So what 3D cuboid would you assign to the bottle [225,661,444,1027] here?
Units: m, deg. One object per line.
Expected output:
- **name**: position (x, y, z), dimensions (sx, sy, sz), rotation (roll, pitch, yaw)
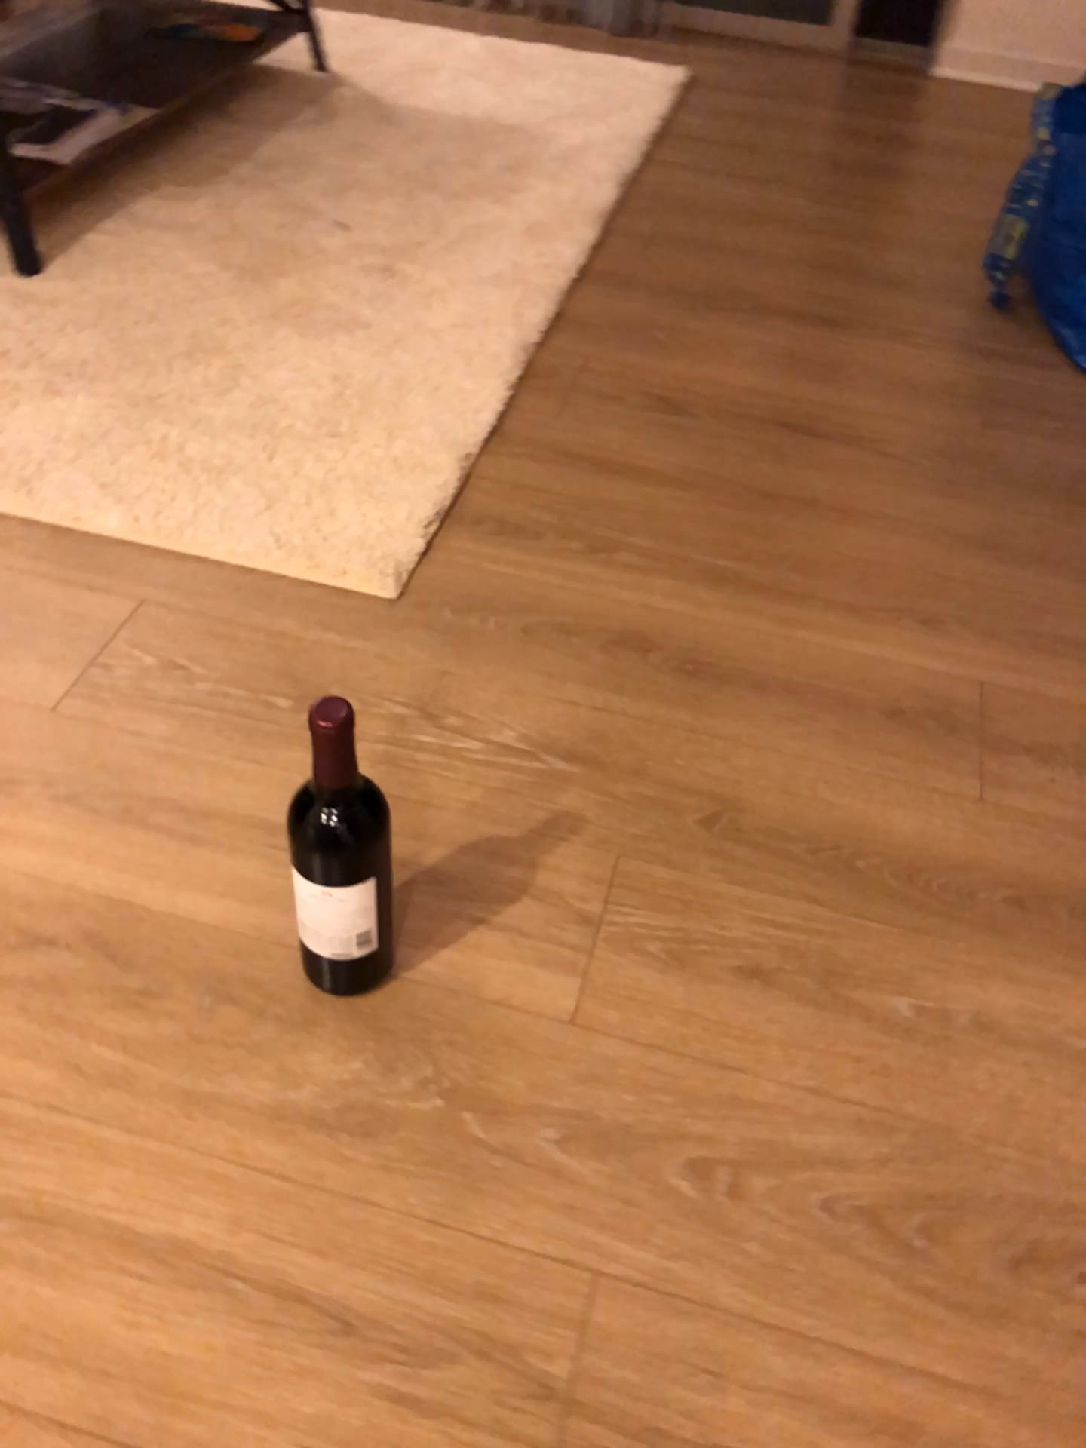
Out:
- **bottle**: position (-0.152, 0.098, 0.918), dimensions (0.110, 0.258, 0.101), rotation (3, 44, -3)
